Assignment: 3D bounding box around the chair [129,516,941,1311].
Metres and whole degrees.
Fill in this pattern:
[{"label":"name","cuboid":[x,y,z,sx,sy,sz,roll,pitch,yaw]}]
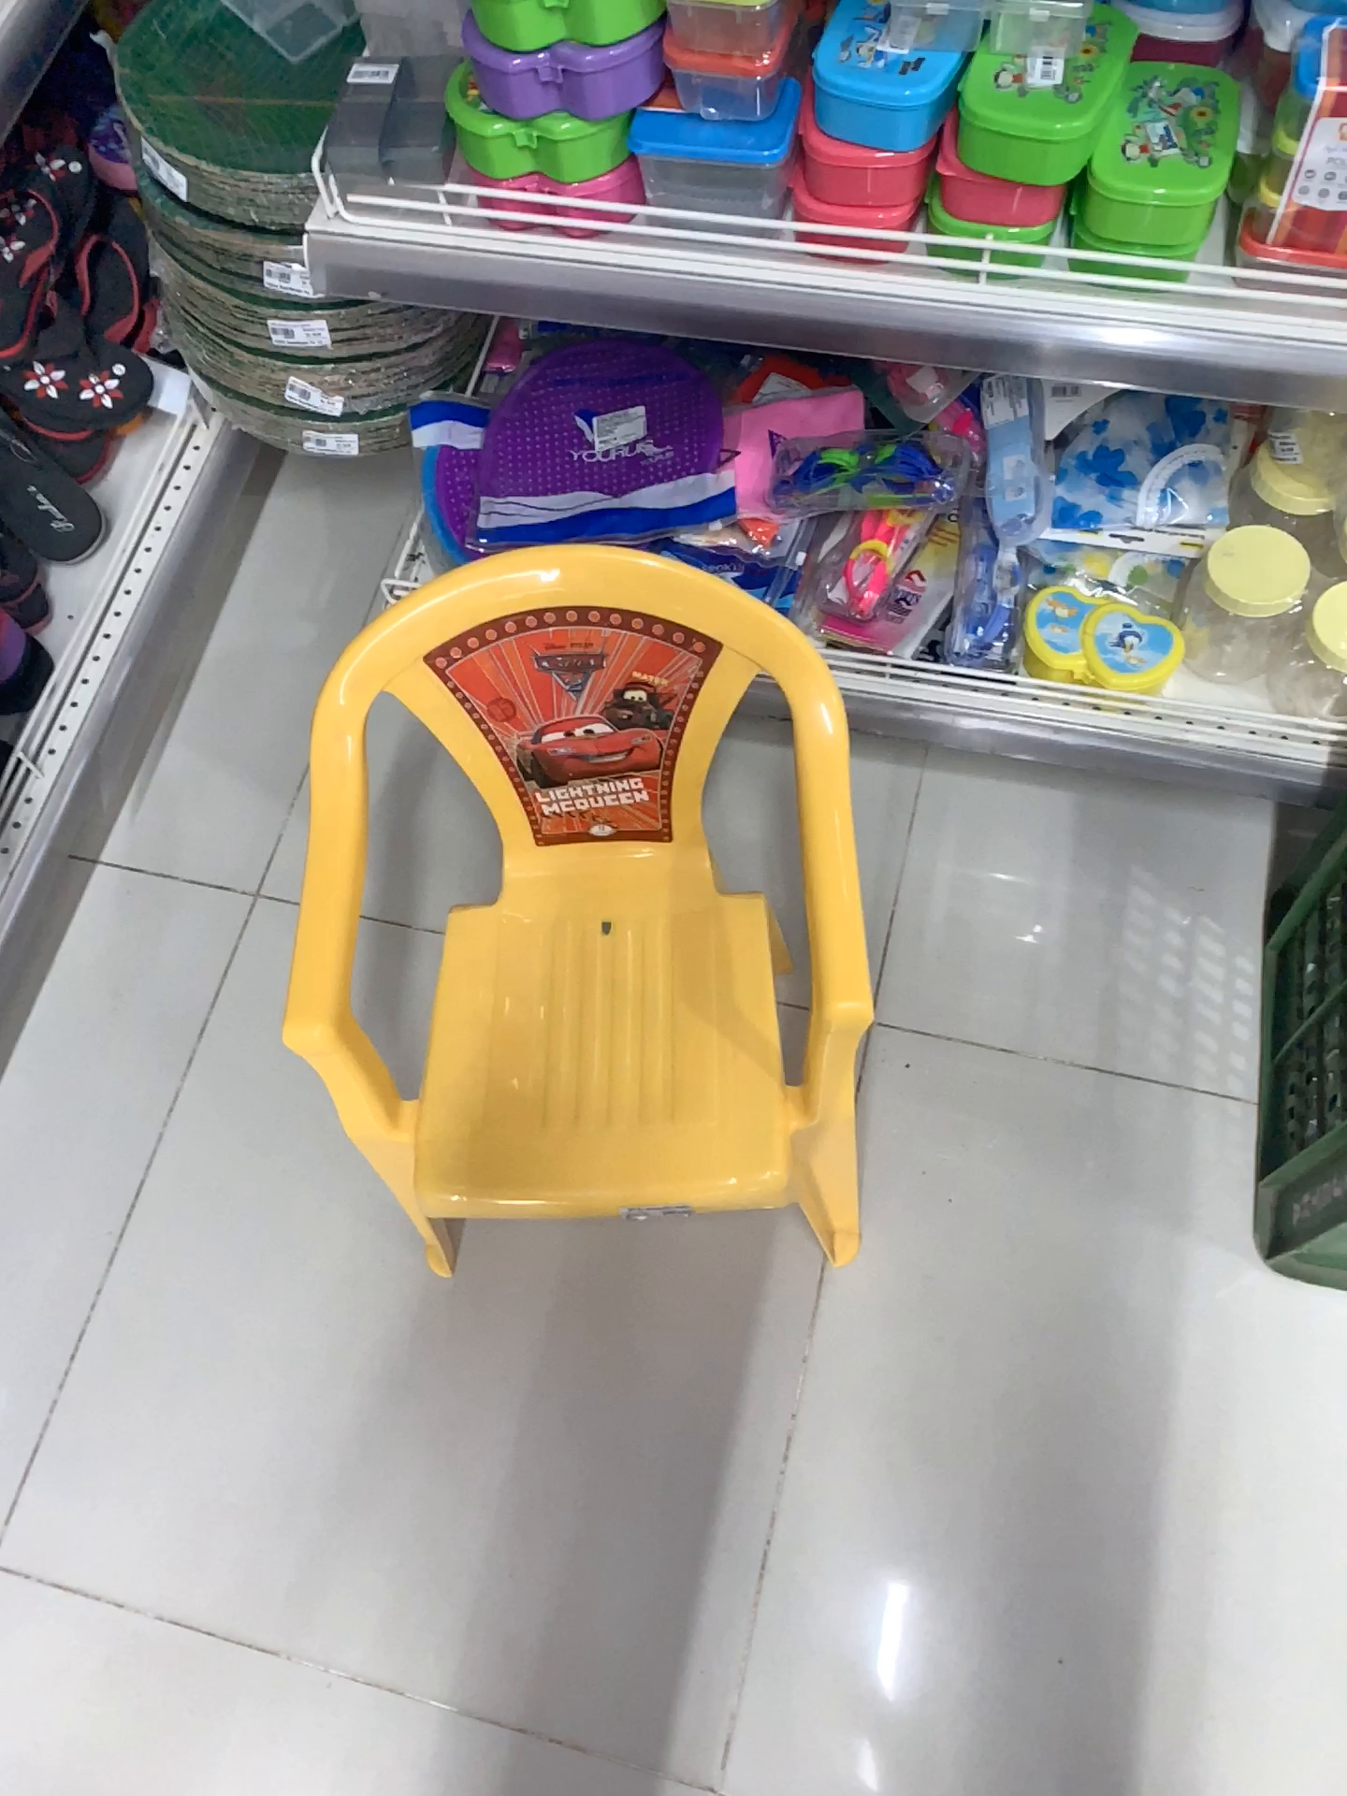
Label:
[{"label":"chair","cuboid":[-0.050,0.060,0.951,0.390,0.499,0.370,-3,66,5]}]
